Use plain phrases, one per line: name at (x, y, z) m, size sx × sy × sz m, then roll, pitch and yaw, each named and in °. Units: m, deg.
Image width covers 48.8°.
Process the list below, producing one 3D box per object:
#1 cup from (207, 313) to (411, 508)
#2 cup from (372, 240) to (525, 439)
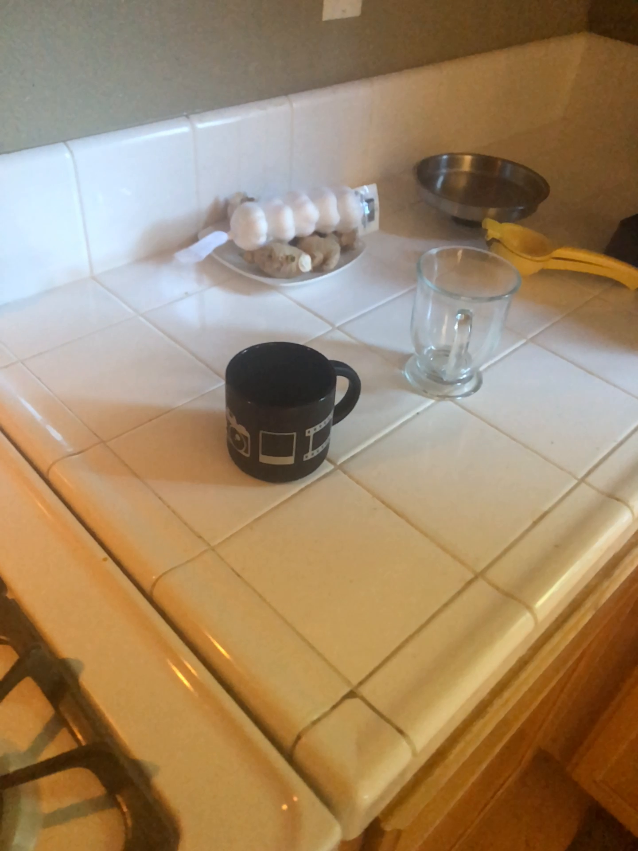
cup at (-0.012, -0.017, 0.583) m, size 0.131 × 0.089 × 0.101 m, roll -17°, pitch 46°, yaw -24°
cup at (0.124, -0.085, 0.670) m, size 0.100 × 0.109 × 0.141 m, roll 16°, pitch 43°, yaw 11°
